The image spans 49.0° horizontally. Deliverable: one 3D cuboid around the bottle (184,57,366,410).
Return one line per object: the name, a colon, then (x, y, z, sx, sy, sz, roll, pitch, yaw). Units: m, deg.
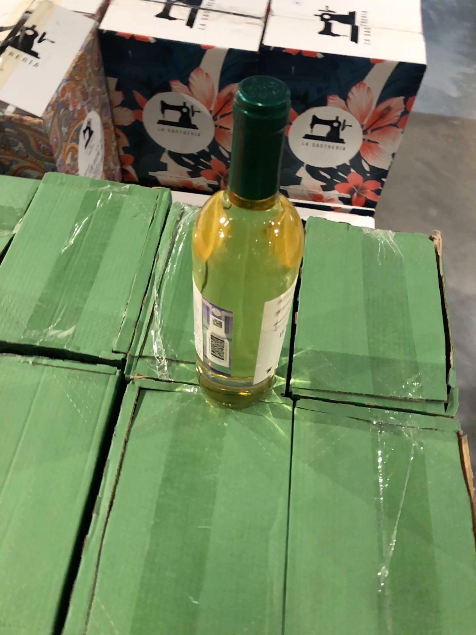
bottle: (0.013, -0.031, 0.370, 0.084, 0.262, 0.080, 2, 56, -3)
